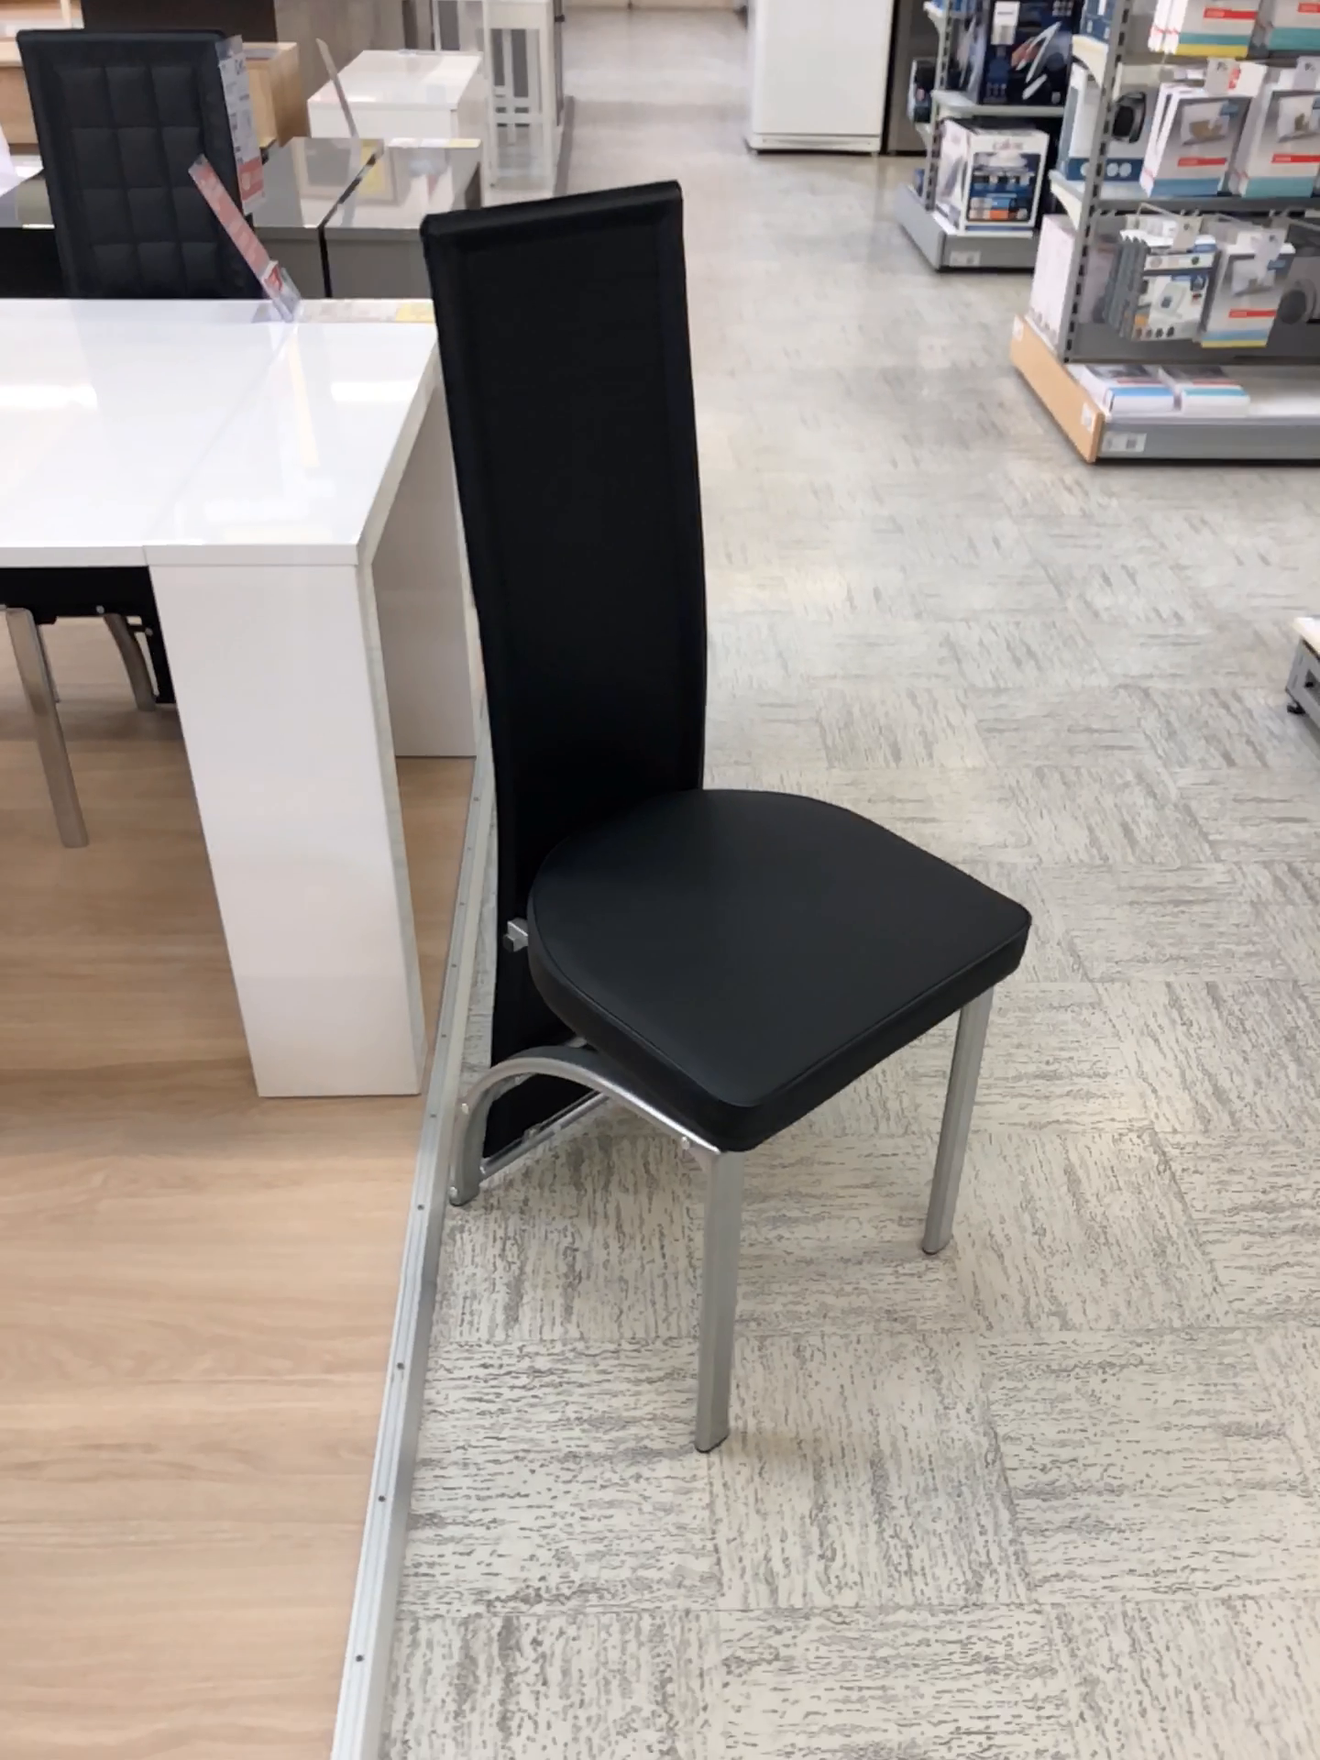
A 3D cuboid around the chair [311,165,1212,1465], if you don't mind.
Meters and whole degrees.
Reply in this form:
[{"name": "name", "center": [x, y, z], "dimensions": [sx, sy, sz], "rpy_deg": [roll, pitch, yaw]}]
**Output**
[{"name": "chair", "center": [0.064, -0.055, 1.354], "dimensions": [0.452, 1.014, 0.490], "rpy_deg": [-28, 44, -35]}]
